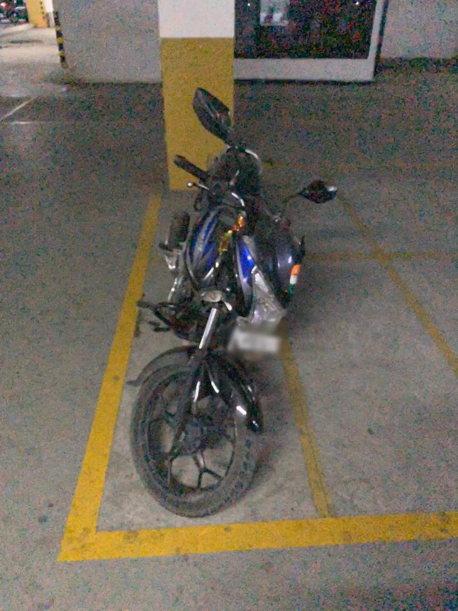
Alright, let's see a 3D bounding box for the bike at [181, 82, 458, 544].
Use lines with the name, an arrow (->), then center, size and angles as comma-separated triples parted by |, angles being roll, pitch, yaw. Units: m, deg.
bike -> 0.265, -0.265, 2.277 | 0.850, 1.205, 2.222 | -3, 33, -6
